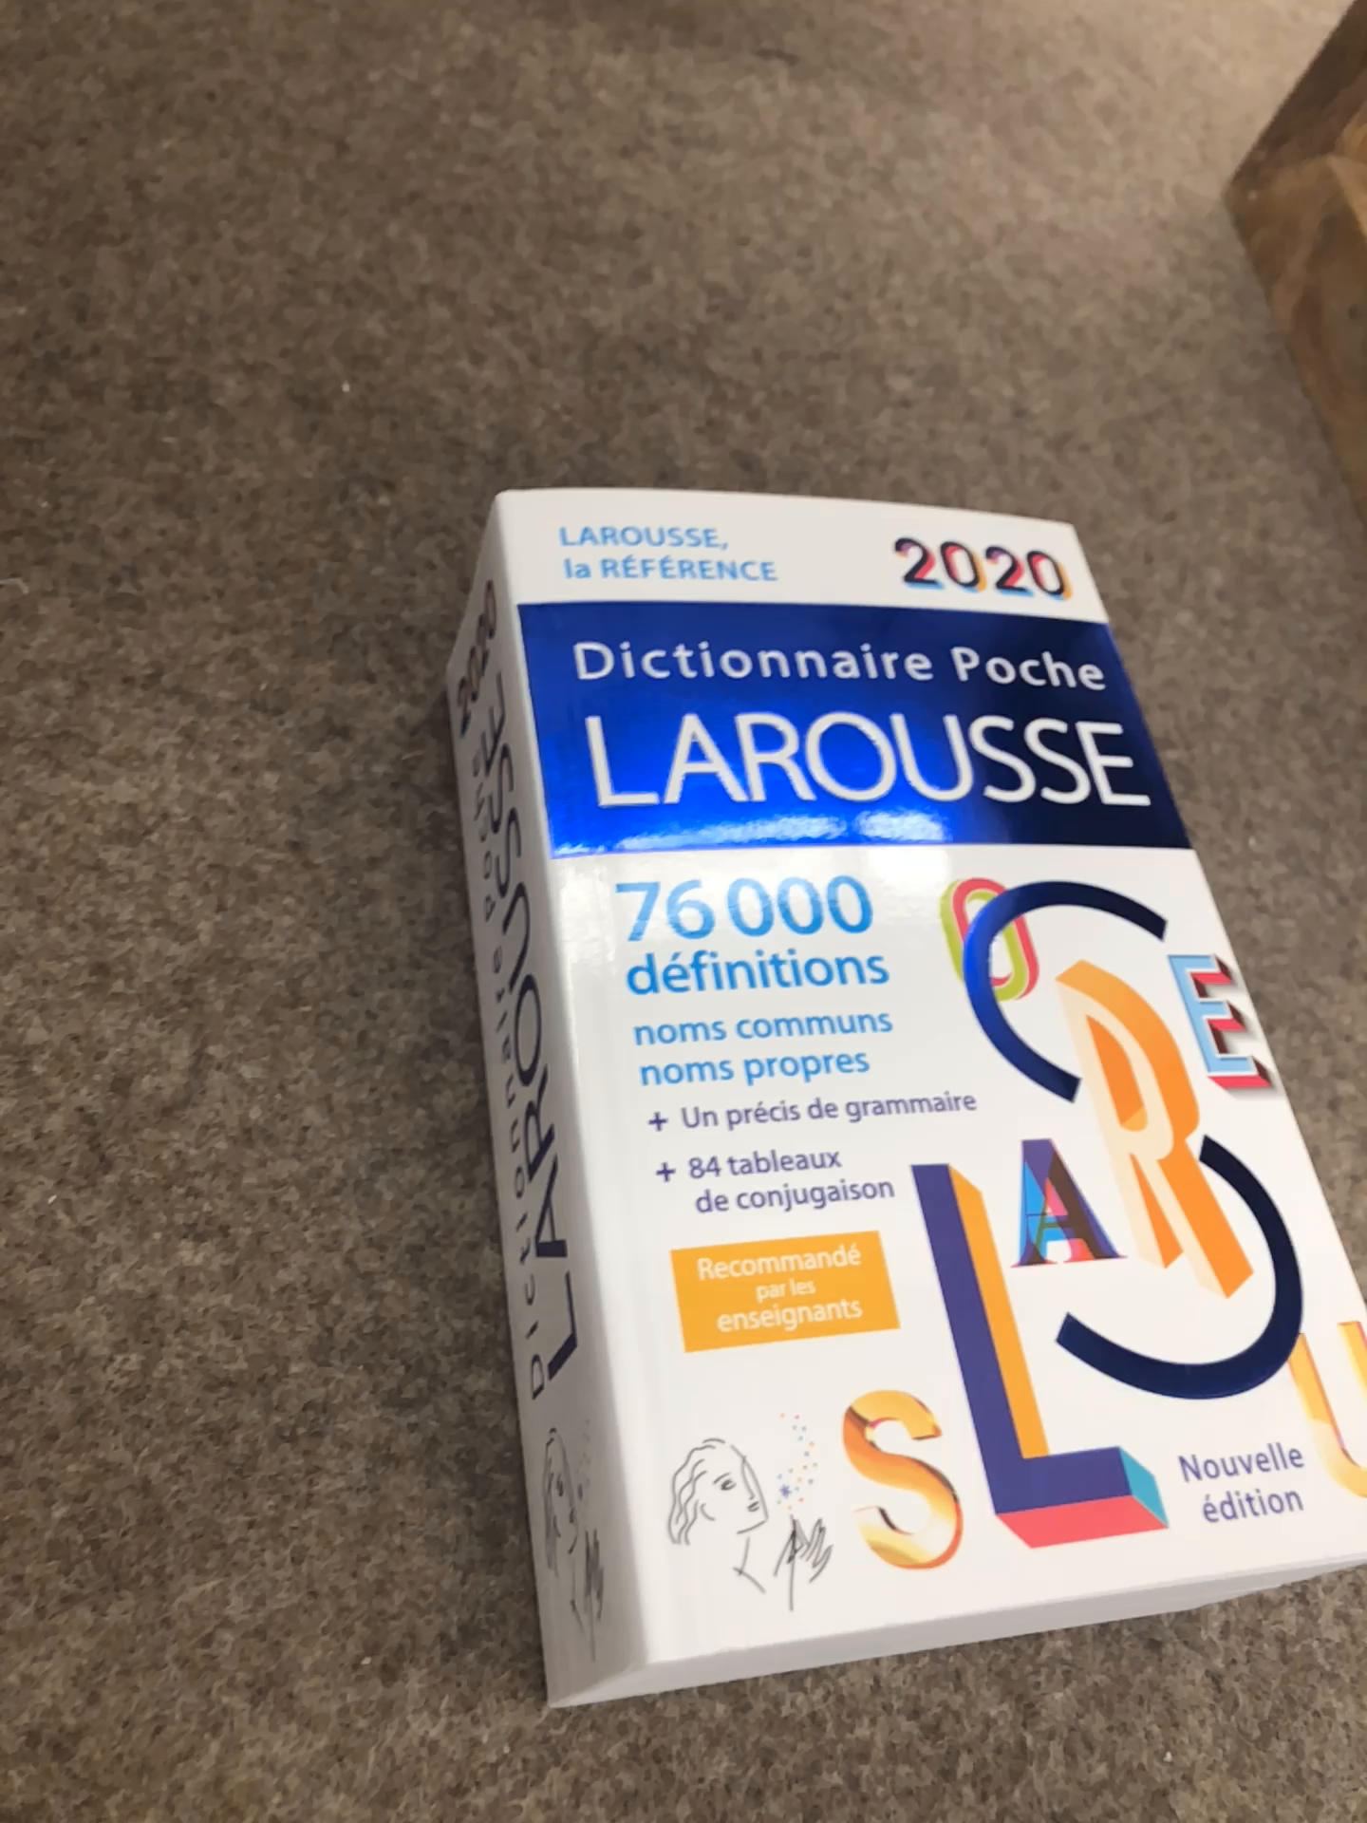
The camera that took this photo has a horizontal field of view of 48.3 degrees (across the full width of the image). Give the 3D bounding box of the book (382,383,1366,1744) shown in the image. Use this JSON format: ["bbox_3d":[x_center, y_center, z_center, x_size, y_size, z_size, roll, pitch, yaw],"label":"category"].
[{"bbox_3d":[0.023,0.014,0.239,0.117,0.060,0.184,2,58,-22],"label":"book"}]
